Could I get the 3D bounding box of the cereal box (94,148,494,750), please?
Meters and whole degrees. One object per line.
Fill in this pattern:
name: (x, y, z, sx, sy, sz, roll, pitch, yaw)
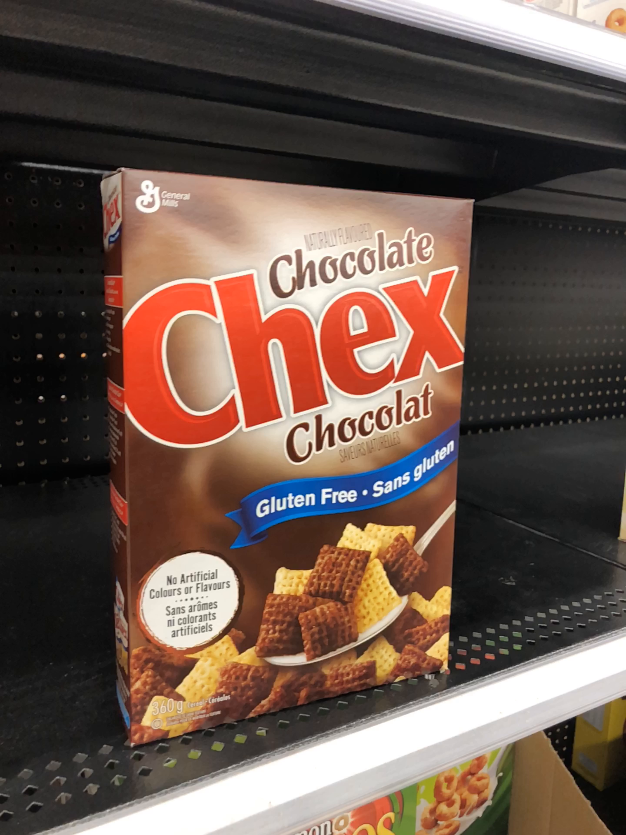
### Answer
cereal box: (-0.008, 0.015, 0.377, 0.200, 0.279, 0.050, -3, 11, -24)
